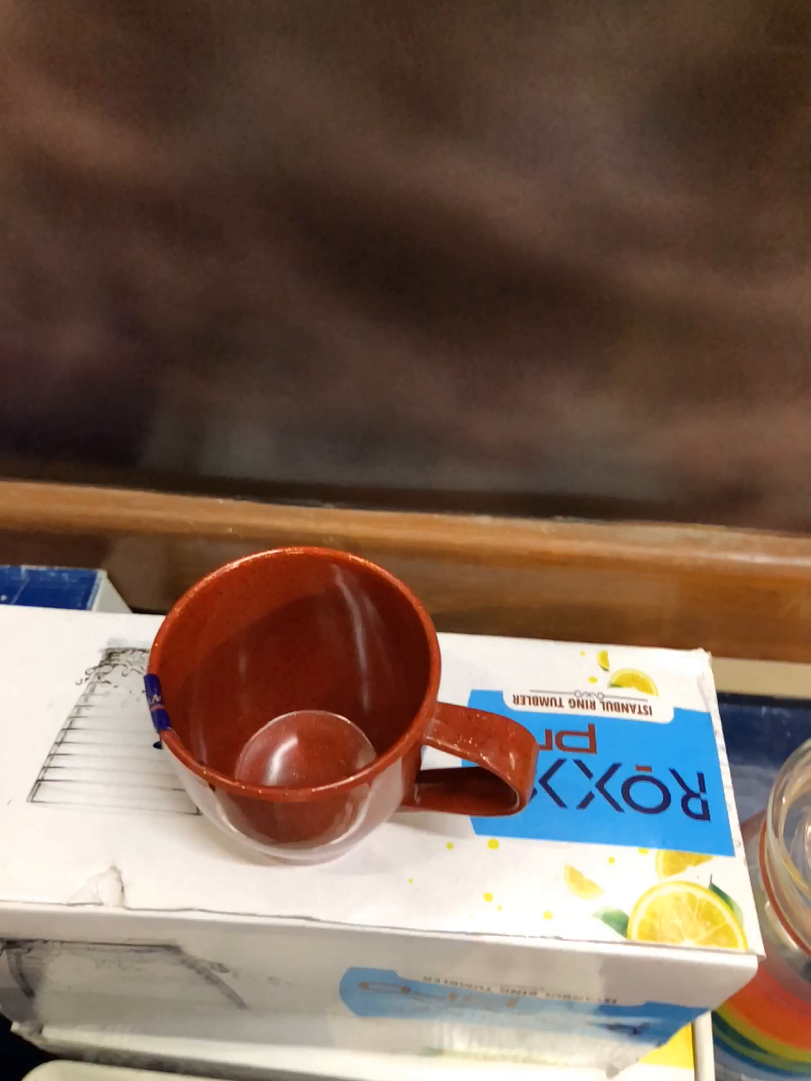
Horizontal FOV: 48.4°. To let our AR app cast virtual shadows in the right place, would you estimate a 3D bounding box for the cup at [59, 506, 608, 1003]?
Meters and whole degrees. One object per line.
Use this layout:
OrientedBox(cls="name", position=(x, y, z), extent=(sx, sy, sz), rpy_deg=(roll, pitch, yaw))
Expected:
OrientedBox(cls="cup", position=(-0.012, 0.051, 0.221), extent=(0.100, 0.070, 0.070), rpy_deg=(13, 50, 12))
